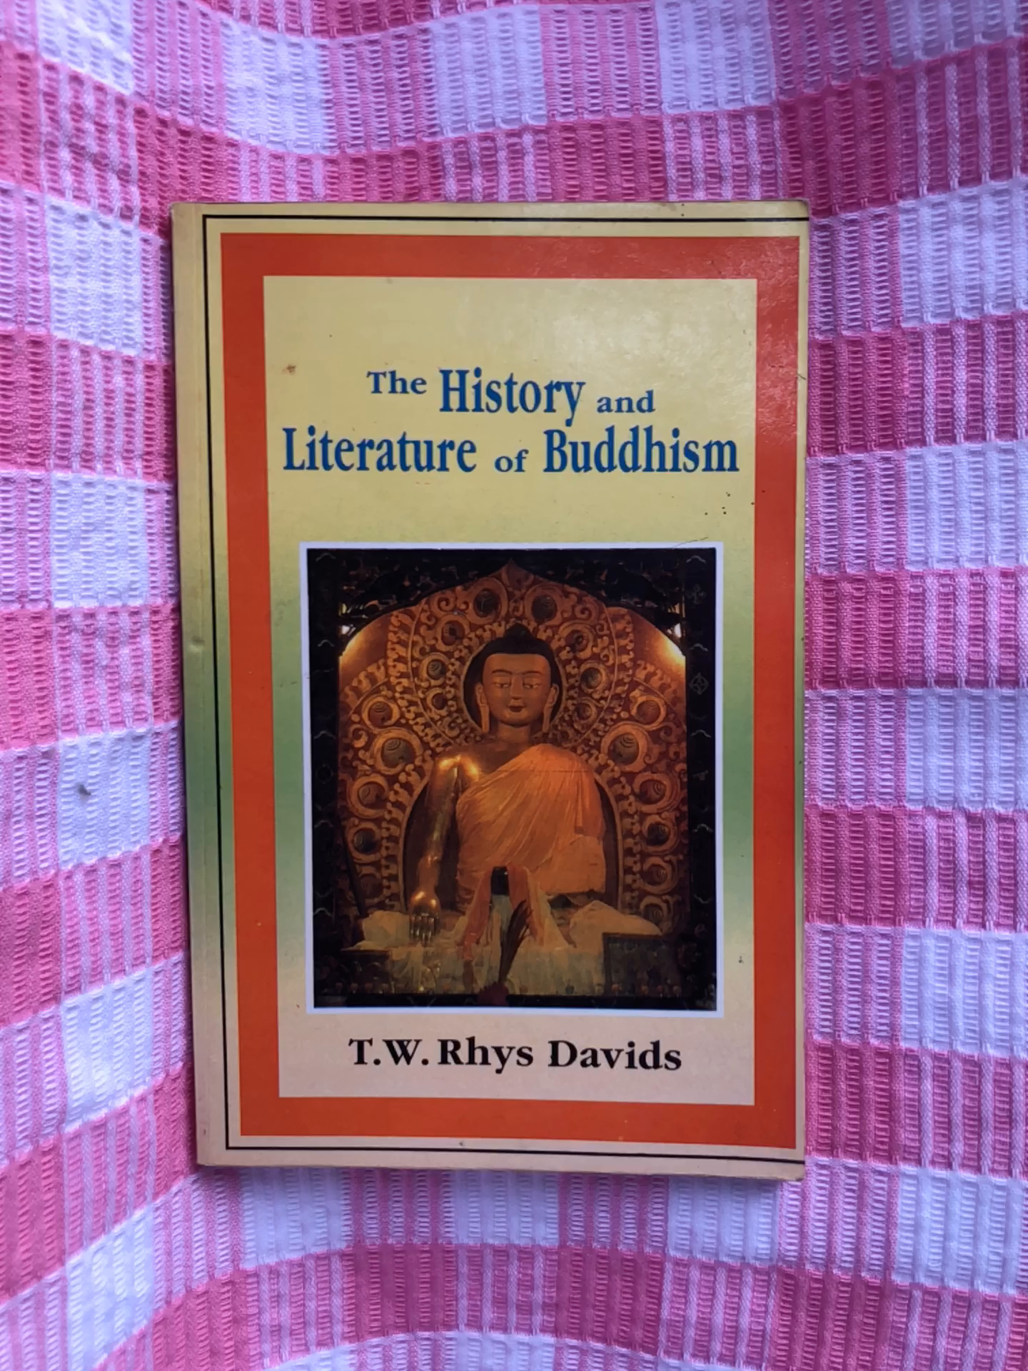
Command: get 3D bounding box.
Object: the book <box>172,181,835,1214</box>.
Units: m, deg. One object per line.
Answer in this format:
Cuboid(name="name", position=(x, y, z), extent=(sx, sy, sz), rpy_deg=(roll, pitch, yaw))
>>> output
Cuboid(name="book", position=(-0.004, 0.004, 0.258), extent=(0.020, 0.140, 0.220), rpy_deg=(-43, 134, -84))
